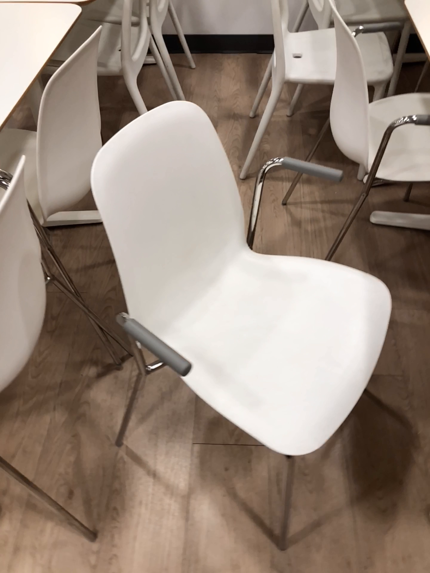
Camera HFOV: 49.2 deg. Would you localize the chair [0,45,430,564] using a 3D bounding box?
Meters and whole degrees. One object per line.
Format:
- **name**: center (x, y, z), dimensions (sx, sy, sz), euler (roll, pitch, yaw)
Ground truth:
- **chair**: center (0.087, 0.067, 0.998), dimensions (0.531, 0.805, 0.572), euler (27, 55, 22)
